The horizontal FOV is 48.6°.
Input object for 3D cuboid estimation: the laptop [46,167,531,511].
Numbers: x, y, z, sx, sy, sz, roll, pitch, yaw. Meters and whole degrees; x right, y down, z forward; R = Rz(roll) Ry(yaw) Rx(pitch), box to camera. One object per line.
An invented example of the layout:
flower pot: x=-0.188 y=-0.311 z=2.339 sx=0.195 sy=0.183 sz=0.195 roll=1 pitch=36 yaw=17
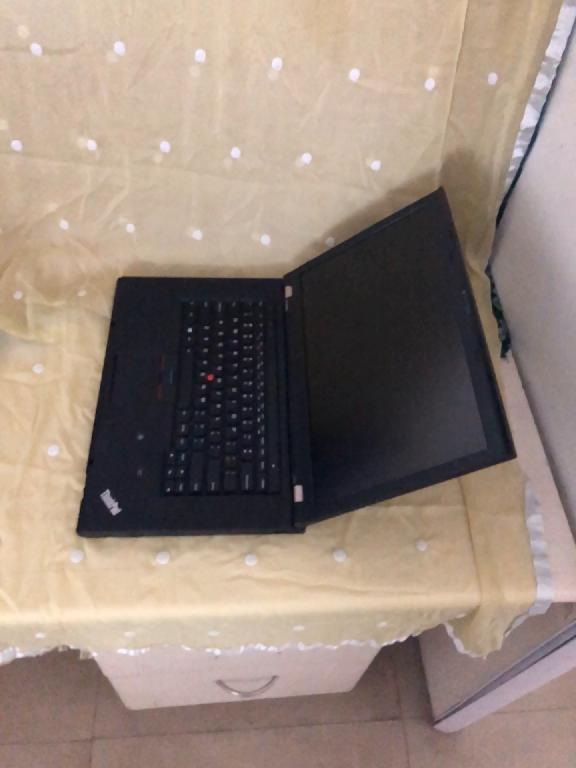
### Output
laptop: x=-0.011 y=-0.061 z=0.720 sx=0.424 sy=0.156 sz=0.349 roll=-2 pitch=55 yaw=-1
